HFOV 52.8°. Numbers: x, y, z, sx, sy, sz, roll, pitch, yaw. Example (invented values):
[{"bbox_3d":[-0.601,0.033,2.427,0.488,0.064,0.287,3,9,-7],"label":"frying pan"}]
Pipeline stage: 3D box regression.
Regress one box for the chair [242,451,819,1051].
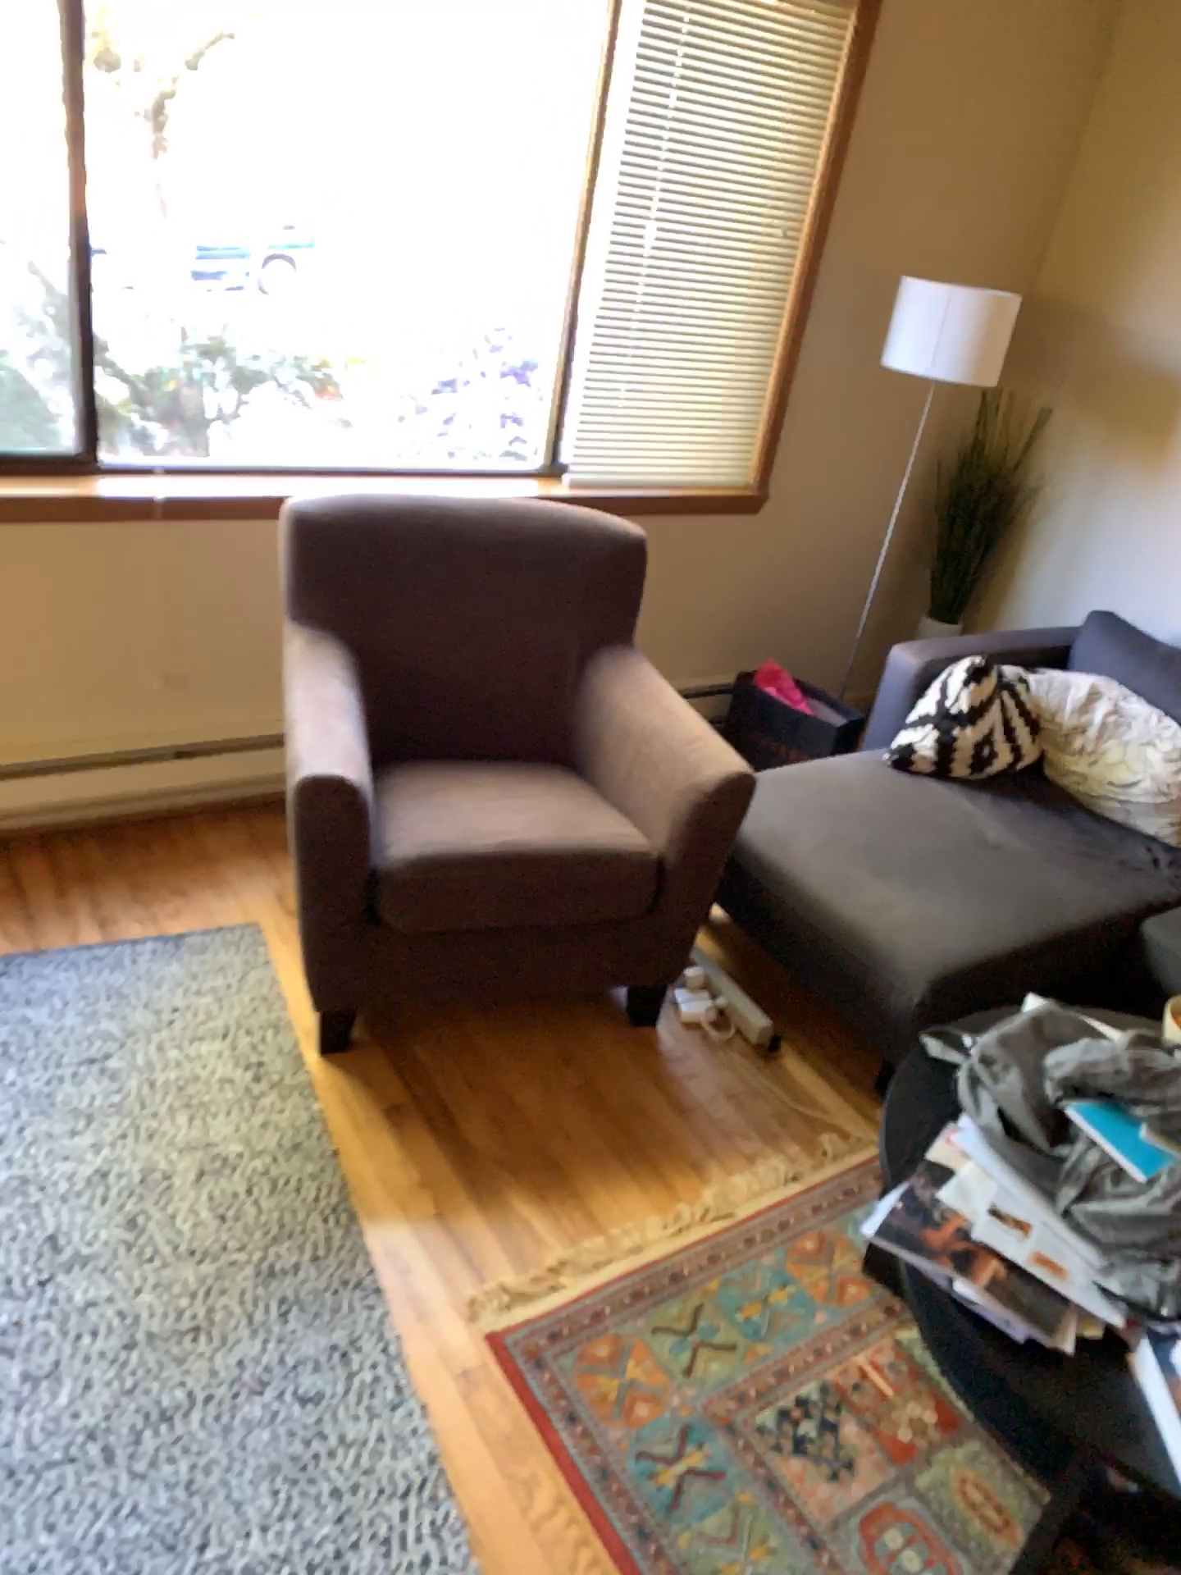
[{"bbox_3d":[-0.210,-0.114,2.413,0.880,0.875,0.804,-1,27,-21],"label":"chair"}]
